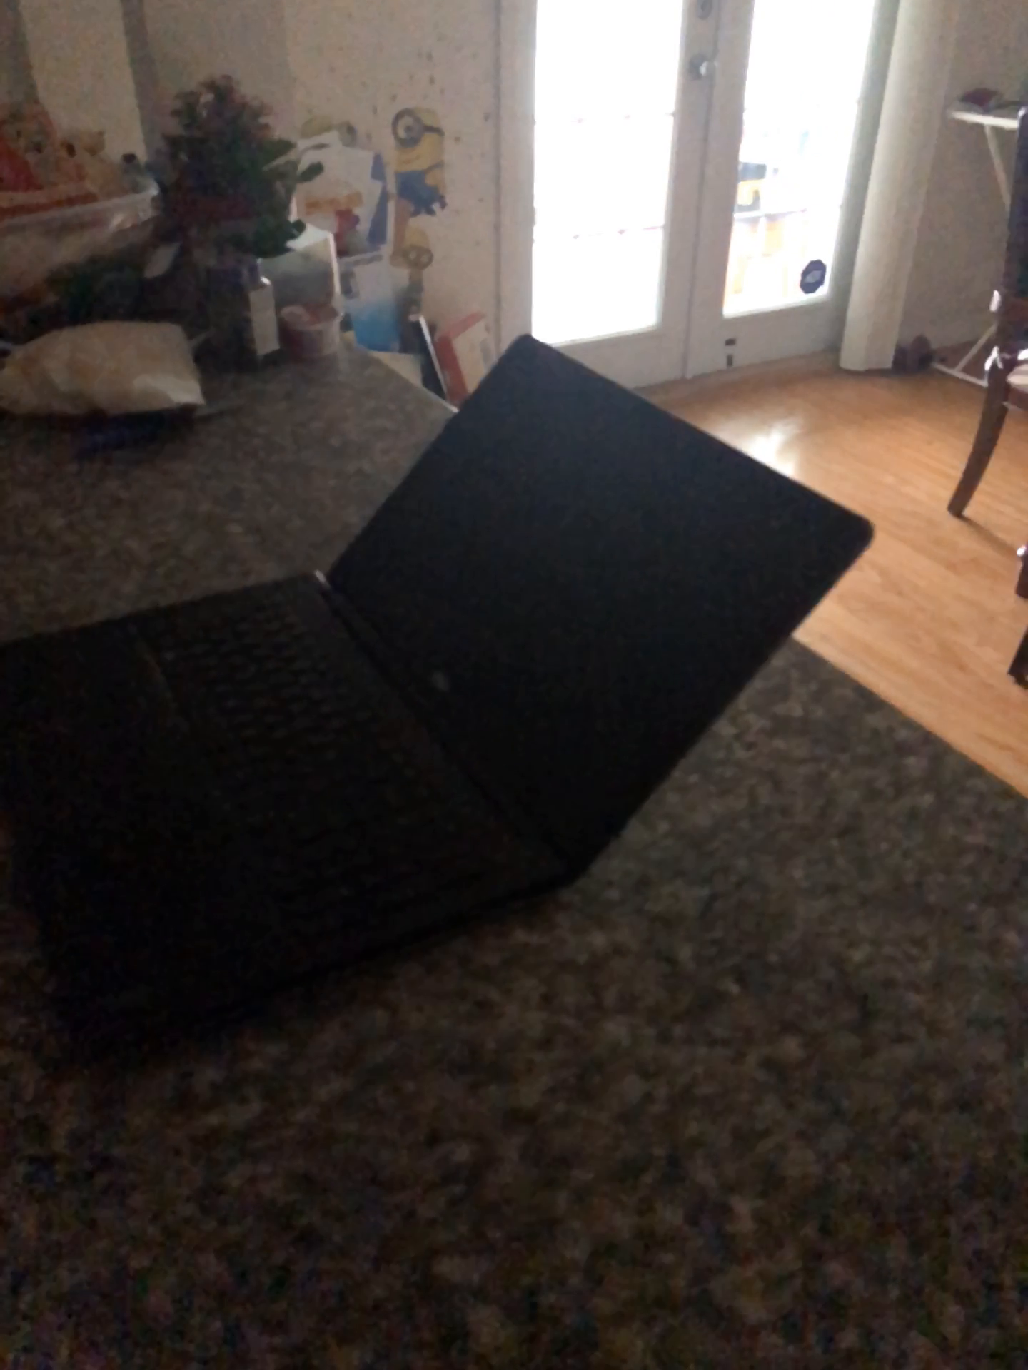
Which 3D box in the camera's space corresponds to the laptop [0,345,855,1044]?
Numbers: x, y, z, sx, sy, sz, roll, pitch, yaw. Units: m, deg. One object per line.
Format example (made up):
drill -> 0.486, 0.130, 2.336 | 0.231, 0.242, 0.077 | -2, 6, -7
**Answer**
laptop -> -0.092, -0.048, 0.665 | 0.414, 0.158, 0.363 | -16, 38, -25
